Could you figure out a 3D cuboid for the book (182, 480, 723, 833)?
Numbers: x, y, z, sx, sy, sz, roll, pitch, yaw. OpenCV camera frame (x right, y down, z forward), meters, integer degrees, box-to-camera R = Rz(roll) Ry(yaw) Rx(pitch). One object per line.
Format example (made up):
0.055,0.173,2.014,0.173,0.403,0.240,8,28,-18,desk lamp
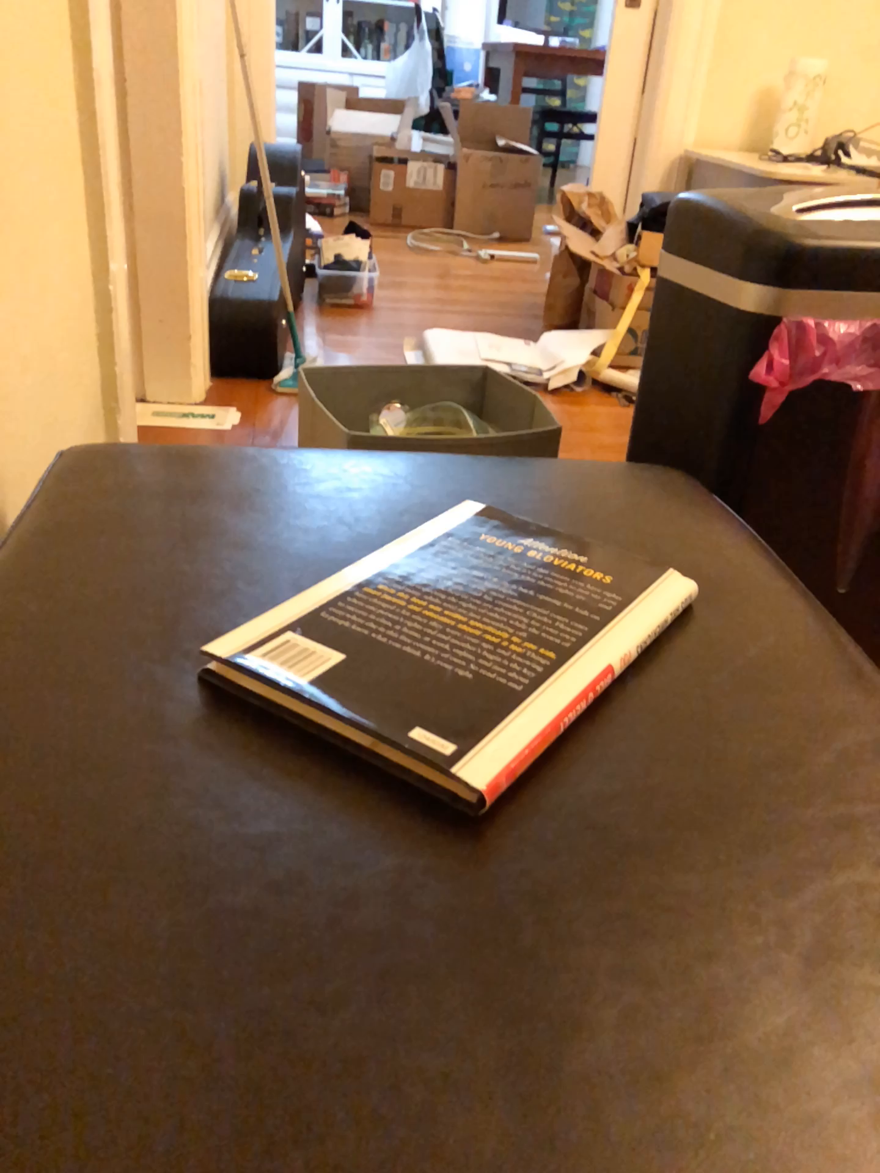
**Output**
0.020,0.012,0.462,0.160,0.020,0.231,21,32,26,book
